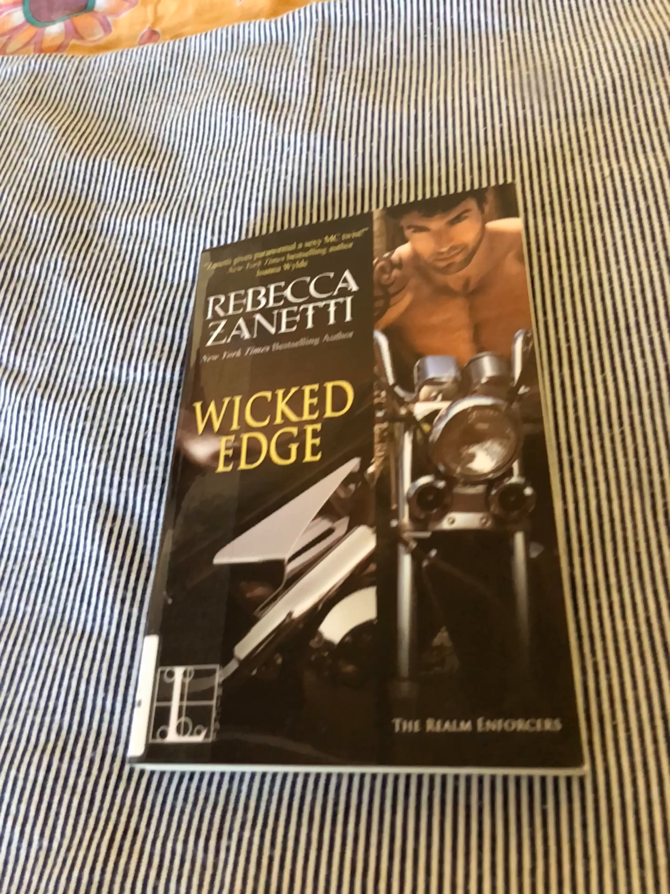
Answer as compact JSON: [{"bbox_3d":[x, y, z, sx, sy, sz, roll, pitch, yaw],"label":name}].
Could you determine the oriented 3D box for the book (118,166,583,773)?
[{"bbox_3d":[0.006,0.000,0.272,0.137,0.030,0.215,-6,62,16],"label":"book"}]
